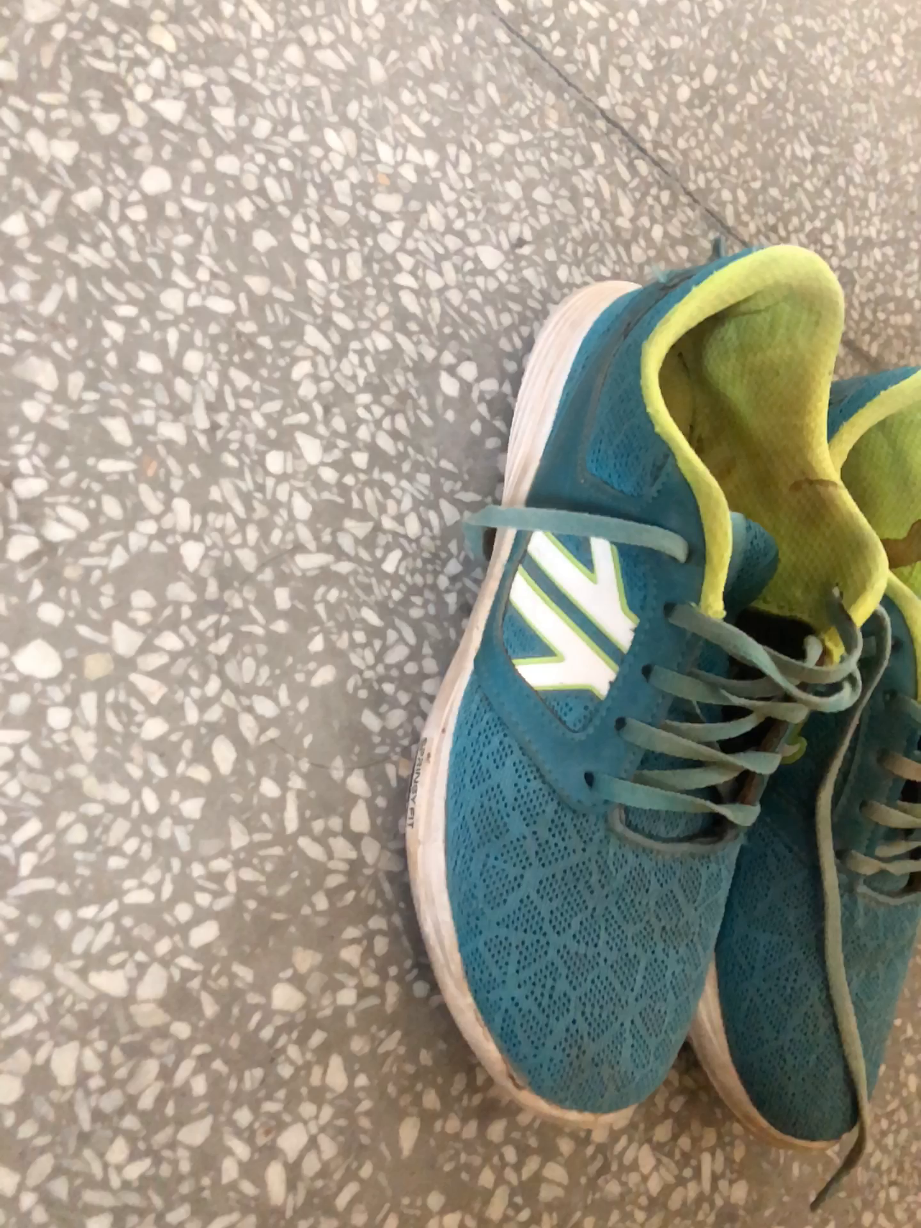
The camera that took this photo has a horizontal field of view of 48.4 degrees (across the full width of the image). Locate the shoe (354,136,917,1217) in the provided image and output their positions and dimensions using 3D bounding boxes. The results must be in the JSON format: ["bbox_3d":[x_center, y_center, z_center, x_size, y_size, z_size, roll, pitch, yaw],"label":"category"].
[{"bbox_3d":[0.050,0.015,0.274,0.091,0.091,0.230,16,74,-31],"label":"shoe"}]

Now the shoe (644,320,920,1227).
[{"bbox_3d":[0.129,0.045,0.319,0.095,0.088,0.229,14,75,-31],"label":"shoe"}]
